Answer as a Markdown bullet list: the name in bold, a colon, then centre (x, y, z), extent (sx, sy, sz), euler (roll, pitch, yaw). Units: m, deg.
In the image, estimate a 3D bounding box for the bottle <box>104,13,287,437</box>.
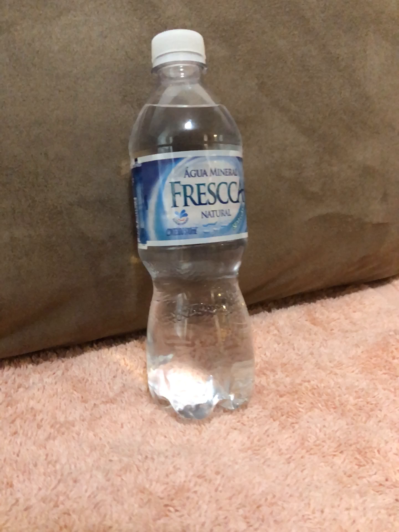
- **bottle**: centre (-0.005, -0.023, 0.270), extent (0.070, 0.209, 0.080), euler (-8, 8, -21)
